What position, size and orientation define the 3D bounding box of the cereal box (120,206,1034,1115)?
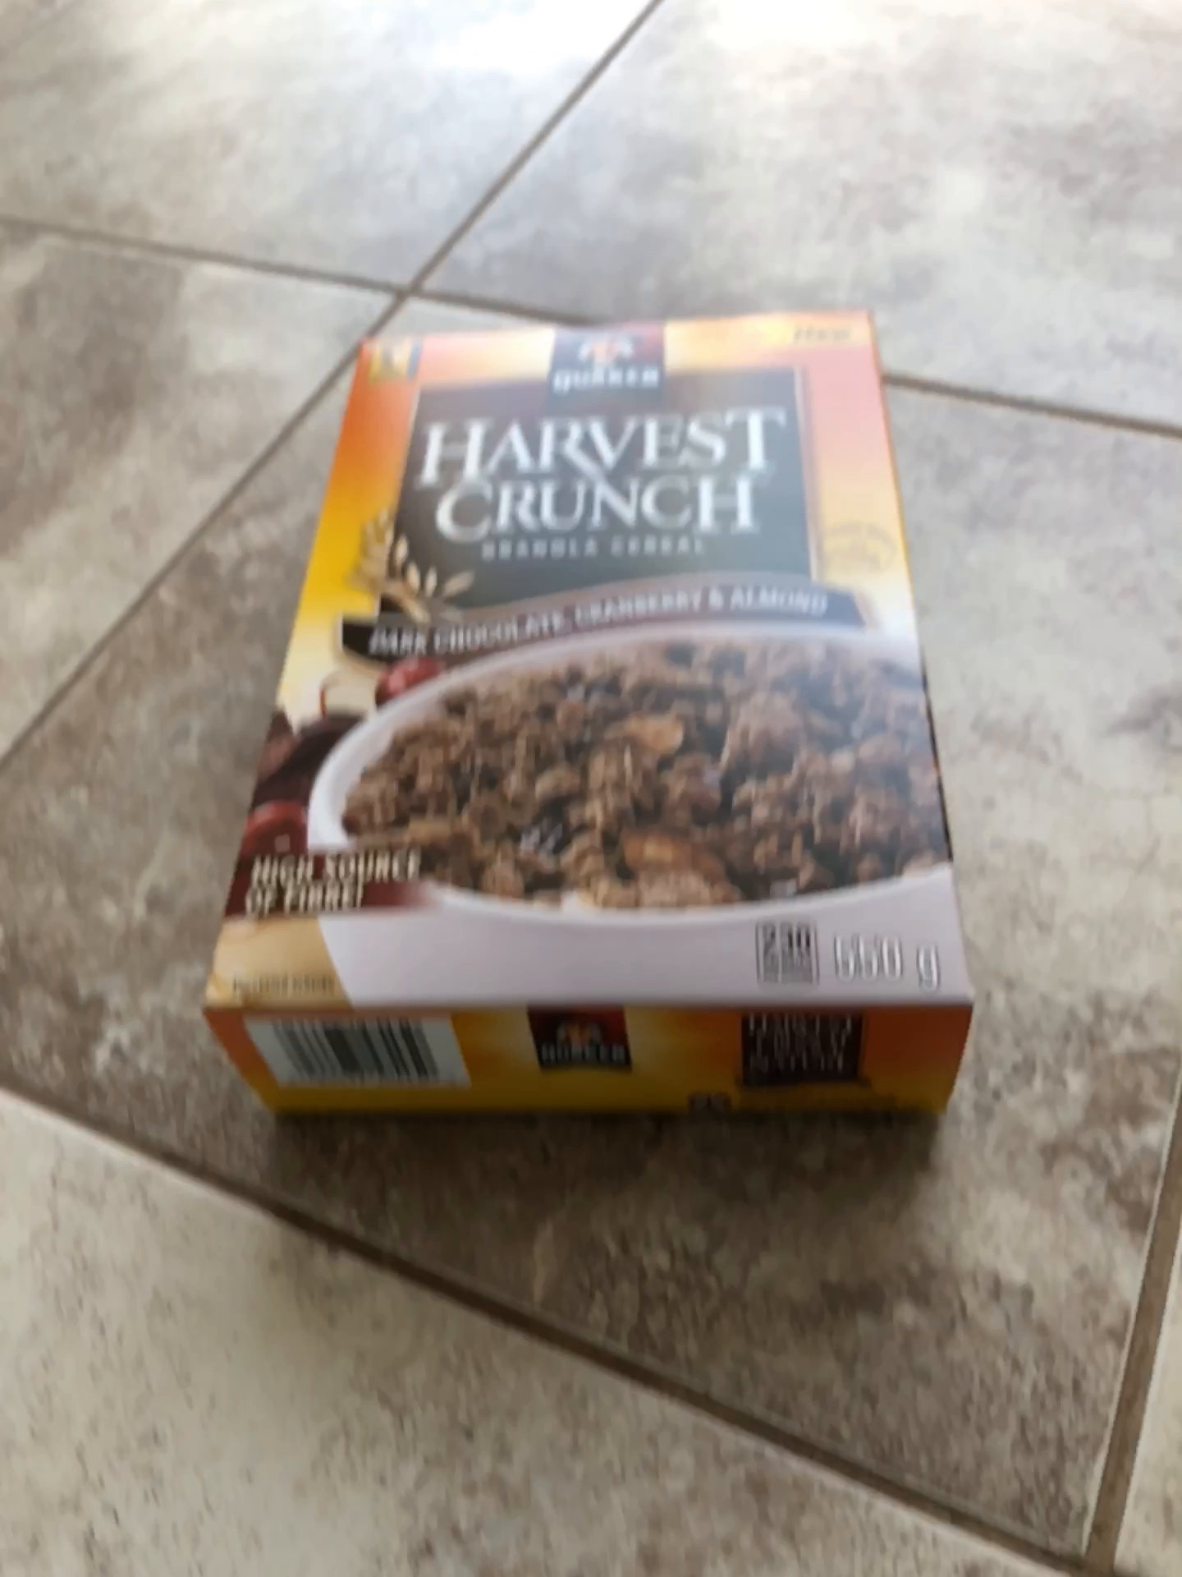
[{"bbox_3d":[0.002,-0.047,0.349,0.170,0.070,0.250,-2,53,6],"label":"cereal box"}]
